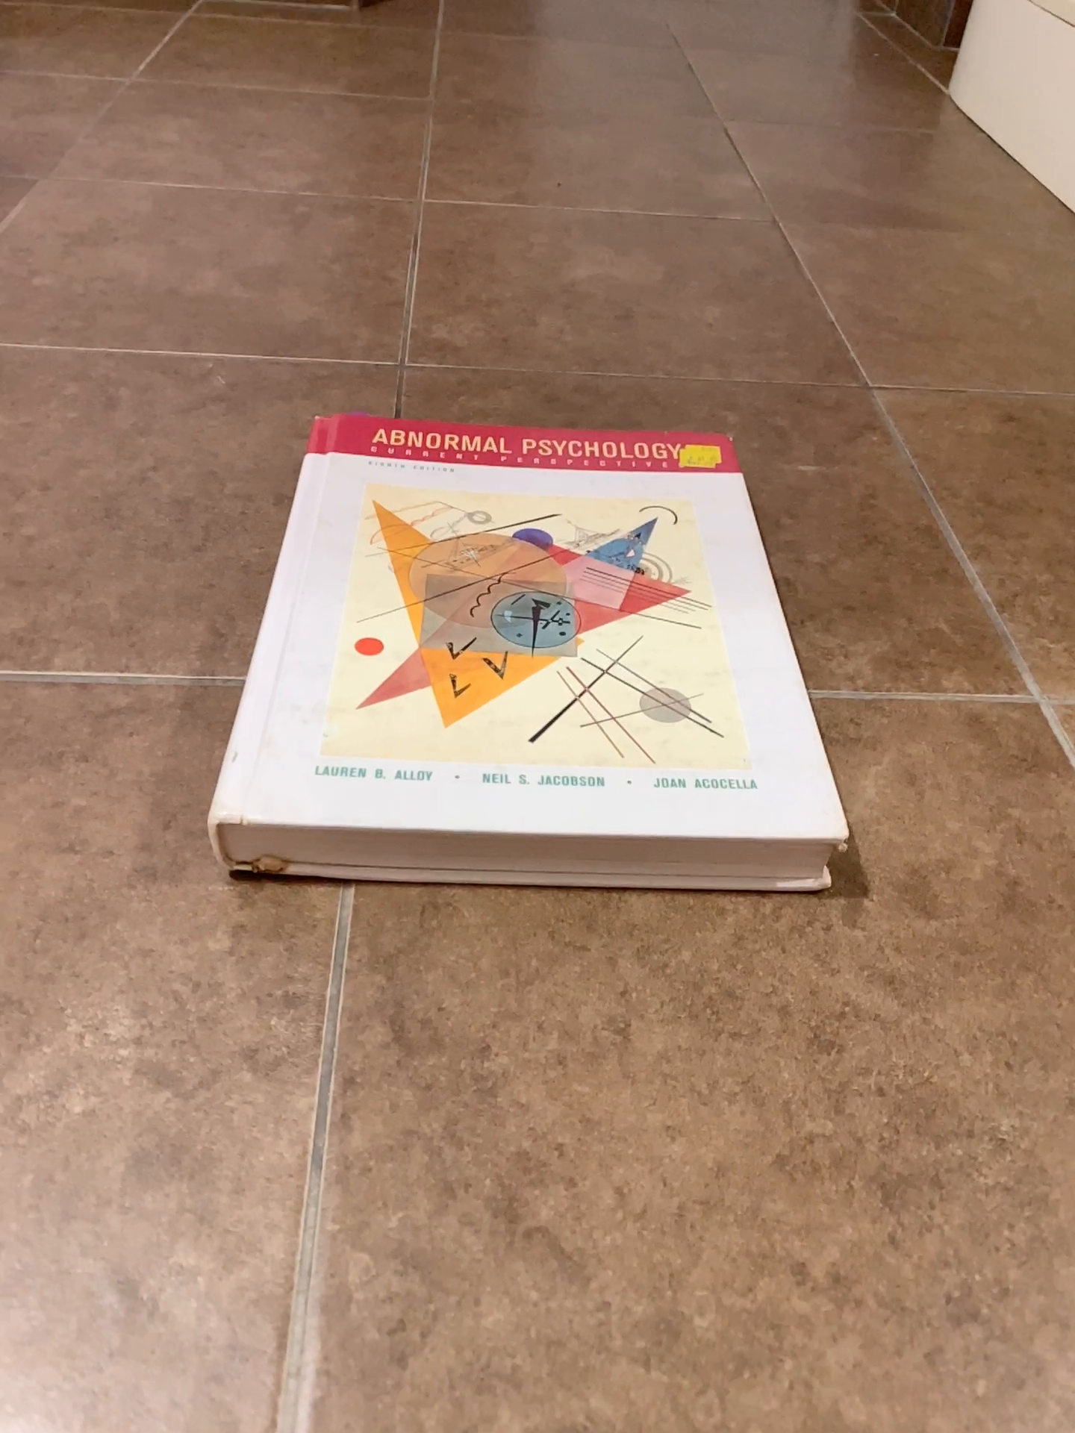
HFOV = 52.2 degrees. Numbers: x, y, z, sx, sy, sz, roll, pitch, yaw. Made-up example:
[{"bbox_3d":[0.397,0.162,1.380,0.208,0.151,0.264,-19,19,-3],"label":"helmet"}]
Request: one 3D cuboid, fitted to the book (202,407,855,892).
[{"bbox_3d":[-0.006,-0.049,0.490,0.222,0.031,0.290,2,43,-4],"label":"book"}]
